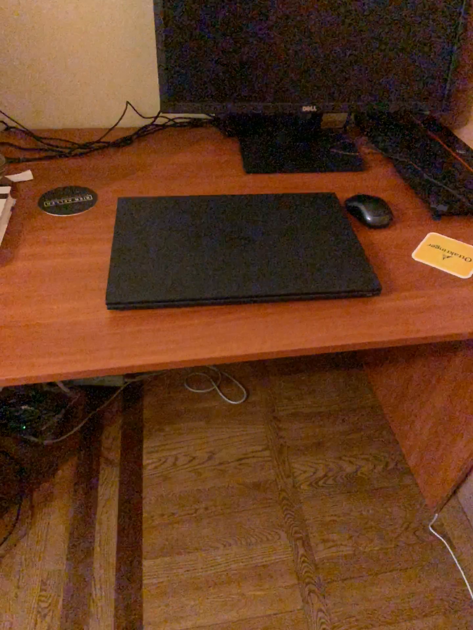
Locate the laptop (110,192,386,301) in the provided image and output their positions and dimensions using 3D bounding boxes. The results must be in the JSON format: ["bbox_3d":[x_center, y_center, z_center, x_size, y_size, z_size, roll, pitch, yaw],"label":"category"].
[{"bbox_3d":[0.008,-0.112,0.694,0.351,0.001,0.249,-3,43,-7],"label":"laptop"}]
